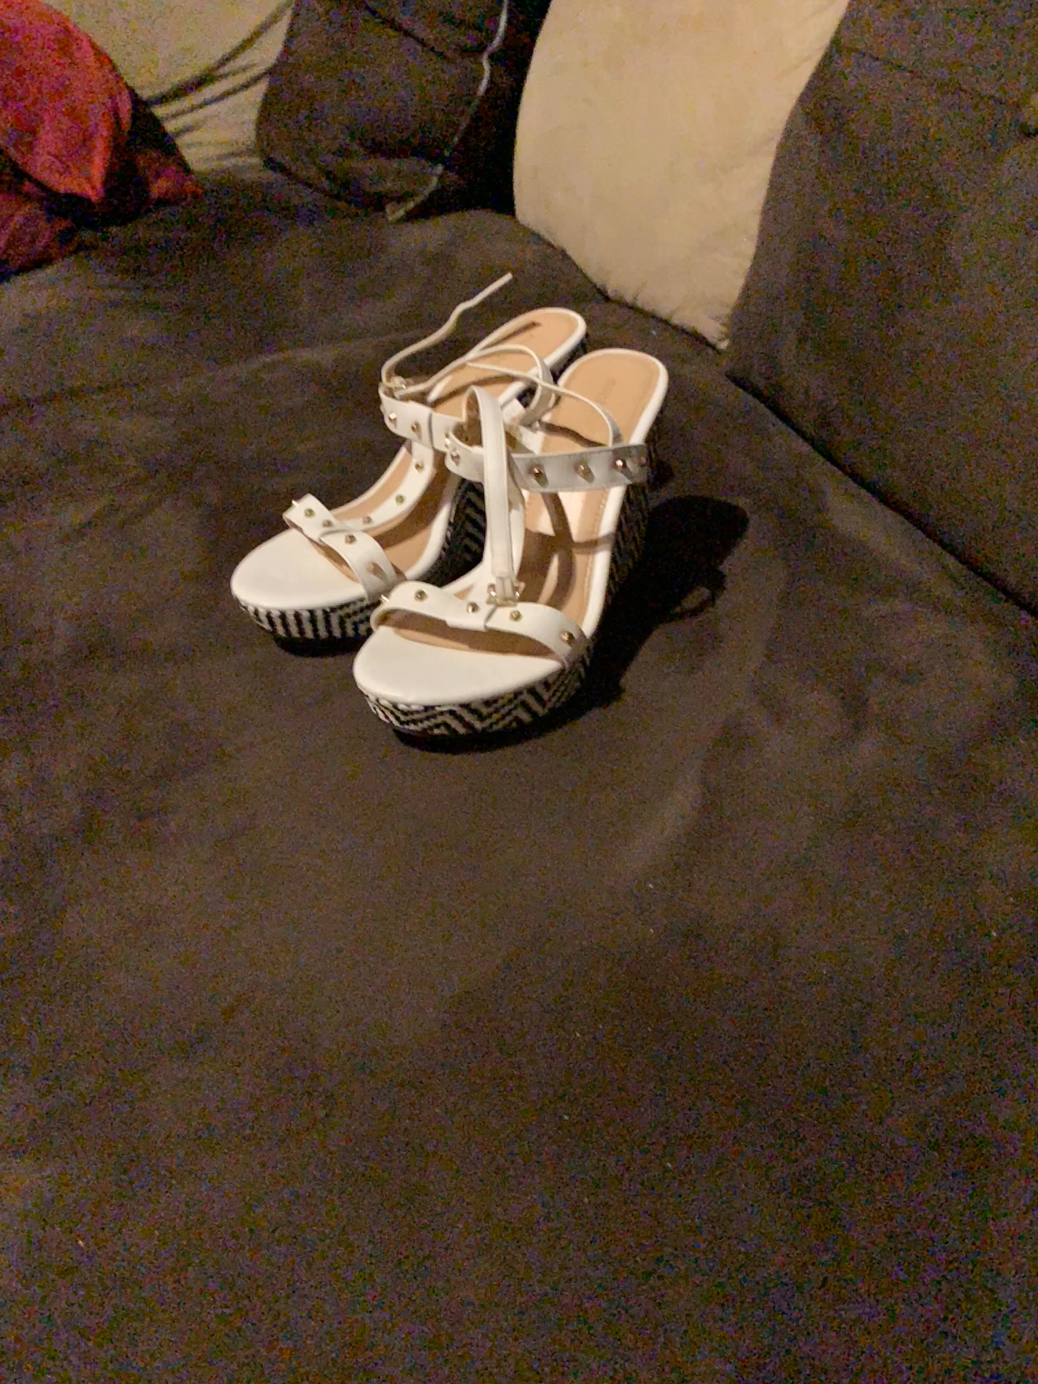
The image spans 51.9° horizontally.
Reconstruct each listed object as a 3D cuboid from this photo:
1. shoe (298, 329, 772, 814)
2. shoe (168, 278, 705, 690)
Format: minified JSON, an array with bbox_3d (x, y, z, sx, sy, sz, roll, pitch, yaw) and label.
[{"bbox_3d":[0.019,-0.074,0.523,0.100,0.099,0.251,24,47,23],"label":"shoe"},{"bbox_3d":[-0.035,-0.124,0.580,0.260,0.099,0.110,-30,52,-28],"label":"shoe"}]
